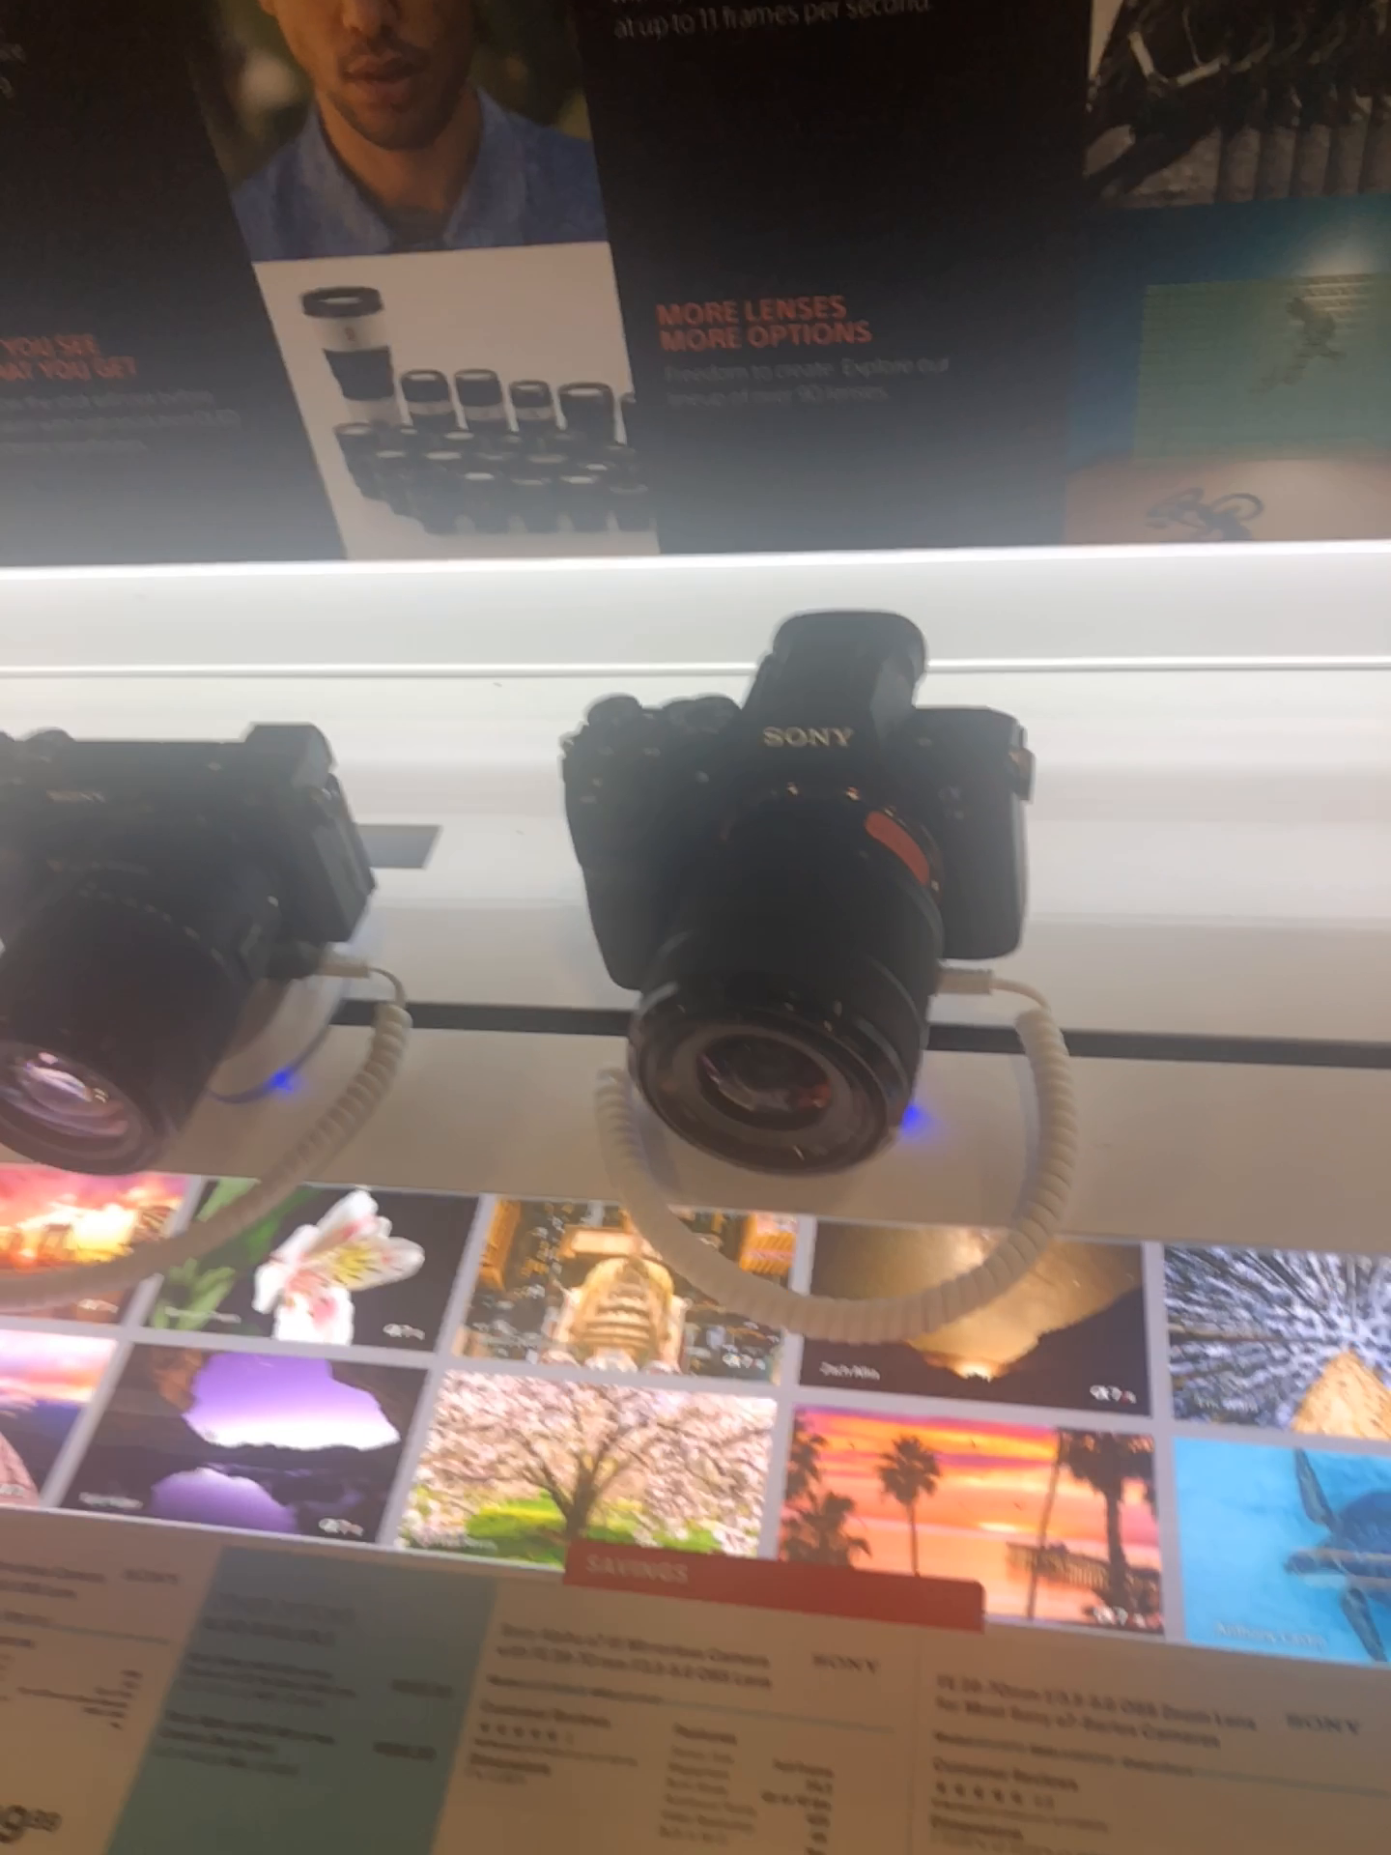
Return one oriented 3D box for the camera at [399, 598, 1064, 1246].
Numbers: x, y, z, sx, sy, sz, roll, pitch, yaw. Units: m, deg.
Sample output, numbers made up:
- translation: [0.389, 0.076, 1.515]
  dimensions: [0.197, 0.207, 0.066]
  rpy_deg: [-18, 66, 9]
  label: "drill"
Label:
- translation: [0.021, -0.008, 0.405]
  dimensions: [0.140, 0.090, 0.140]
  rpy_deg: [4, 46, 12]
  label: "camera"
